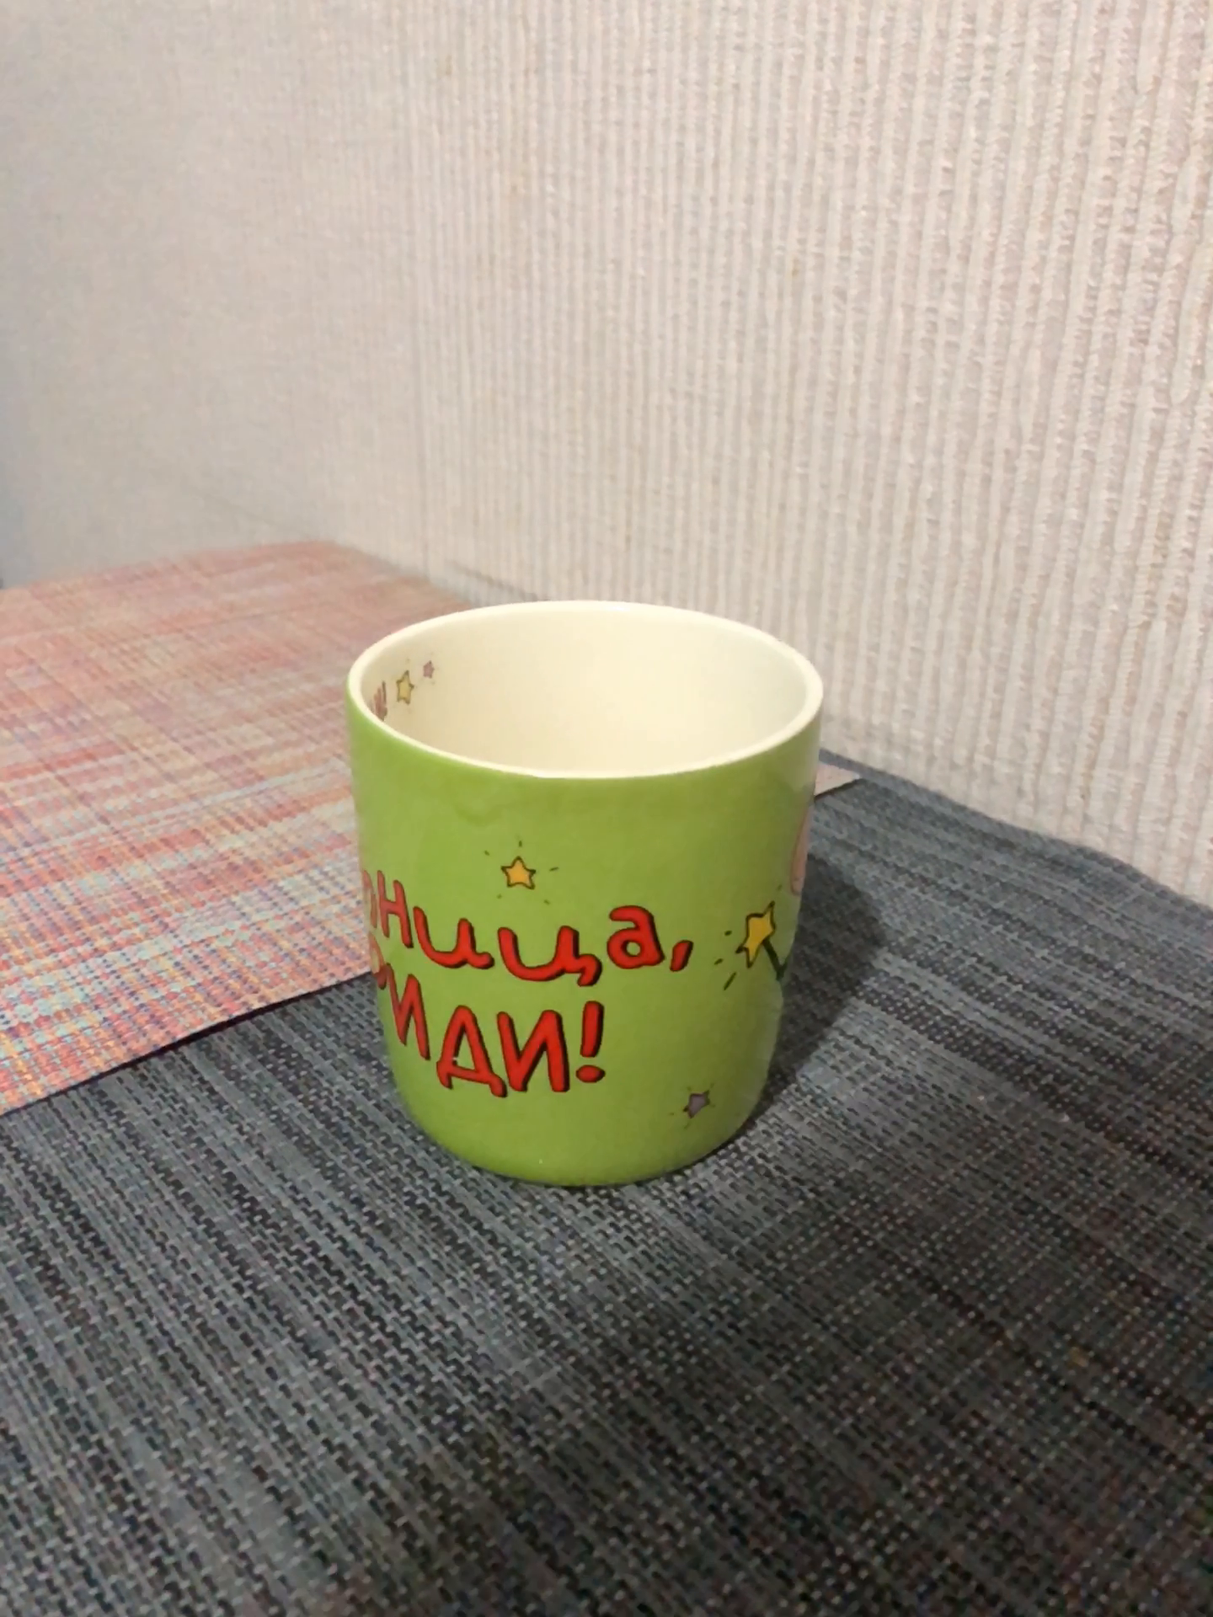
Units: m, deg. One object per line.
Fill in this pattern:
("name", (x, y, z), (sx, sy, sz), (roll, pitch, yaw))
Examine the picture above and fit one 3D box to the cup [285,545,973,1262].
("cup", (-0.005, 0.007, 0.269), (0.089, 0.084, 0.116), (-10, 28, -21))
